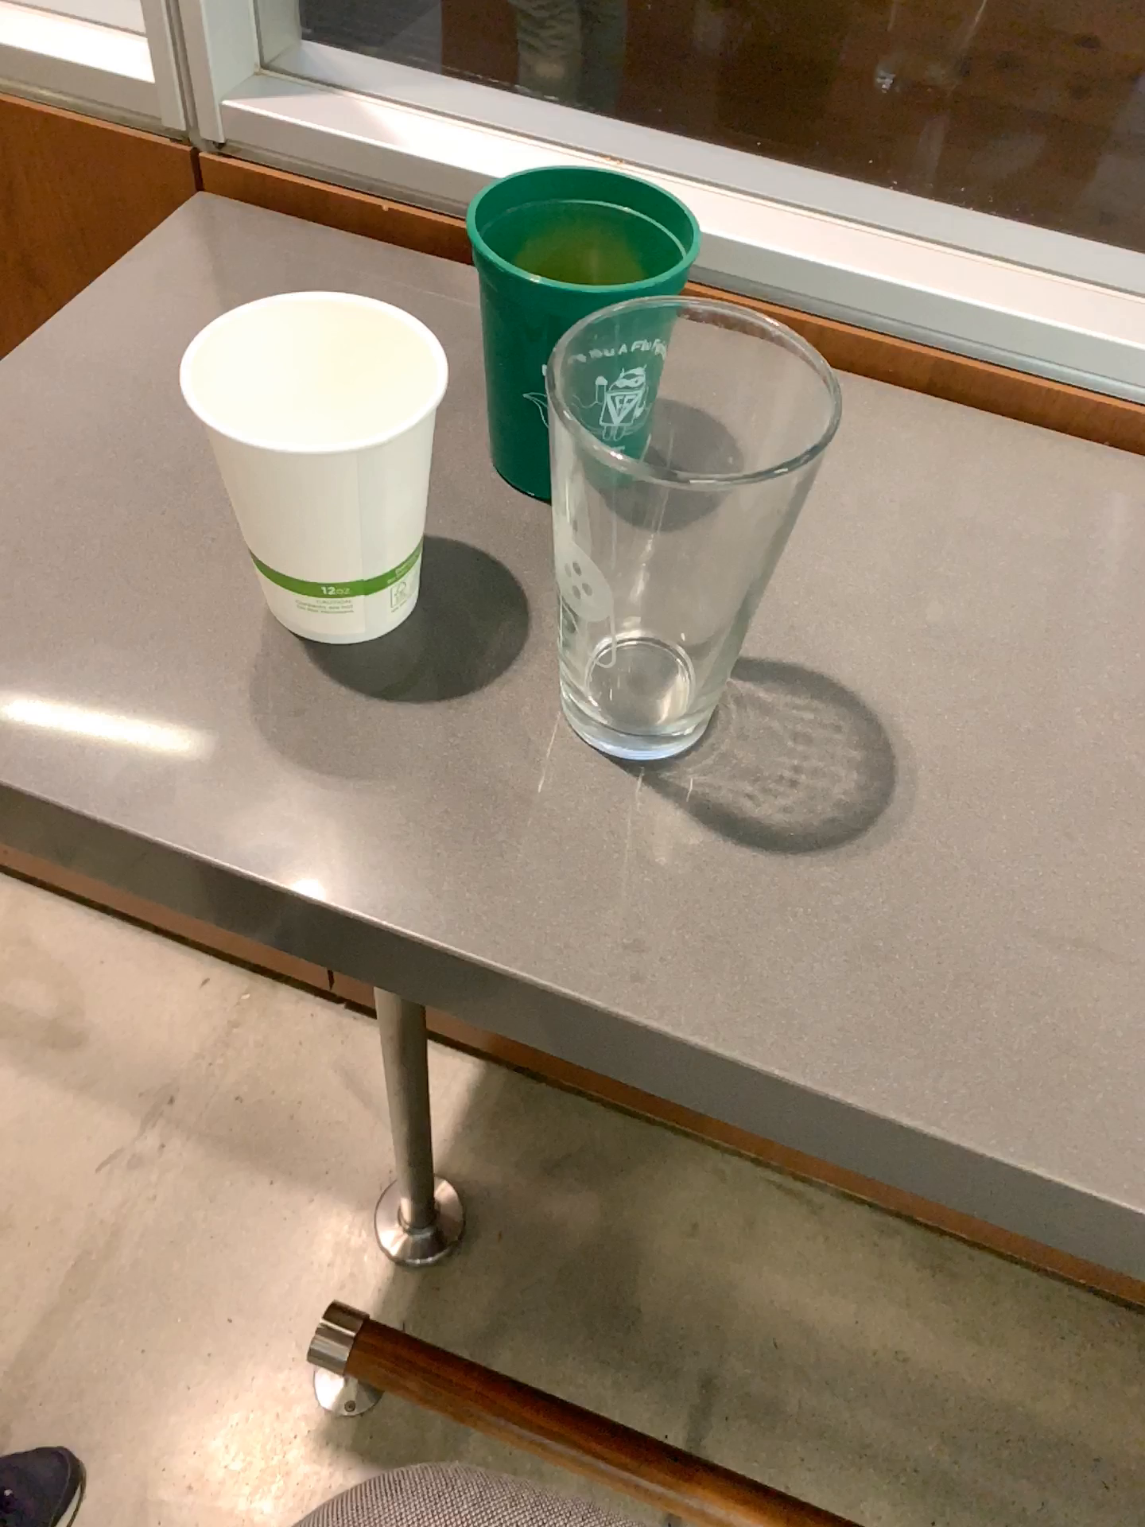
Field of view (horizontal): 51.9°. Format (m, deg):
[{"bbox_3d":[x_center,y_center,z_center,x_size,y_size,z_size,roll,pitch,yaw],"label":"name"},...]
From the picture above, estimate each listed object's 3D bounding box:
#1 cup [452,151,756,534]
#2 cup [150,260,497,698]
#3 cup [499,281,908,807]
[{"bbox_3d":[0.006,-0.175,0.490,0.090,0.110,0.090,3,52,-4],"label":"cup"},{"bbox_3d":[-0.089,-0.104,0.435,0.090,0.110,0.090,3,52,-4],"label":"cup"},{"bbox_3d":[0.032,-0.069,0.395,0.090,0.139,0.090,3,52,-4],"label":"cup"}]
